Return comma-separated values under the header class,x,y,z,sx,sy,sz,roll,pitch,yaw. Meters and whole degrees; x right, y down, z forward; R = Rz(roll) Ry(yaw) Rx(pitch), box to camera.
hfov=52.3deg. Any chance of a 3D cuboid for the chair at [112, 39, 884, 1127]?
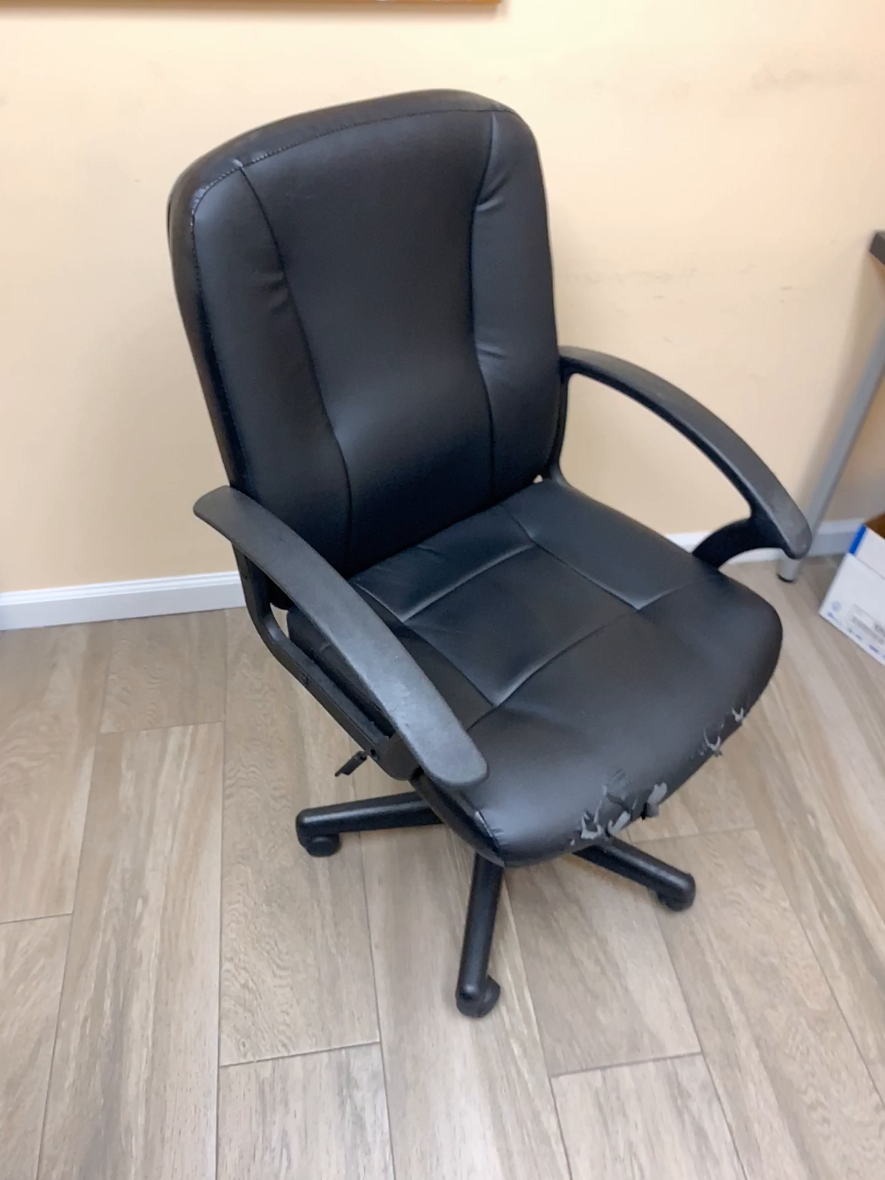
class,x,y,z,sx,sy,sz,roll,pitch,yaw
chair,0.153,-0.010,1.126,0.684,0.987,0.646,-29,52,-30
